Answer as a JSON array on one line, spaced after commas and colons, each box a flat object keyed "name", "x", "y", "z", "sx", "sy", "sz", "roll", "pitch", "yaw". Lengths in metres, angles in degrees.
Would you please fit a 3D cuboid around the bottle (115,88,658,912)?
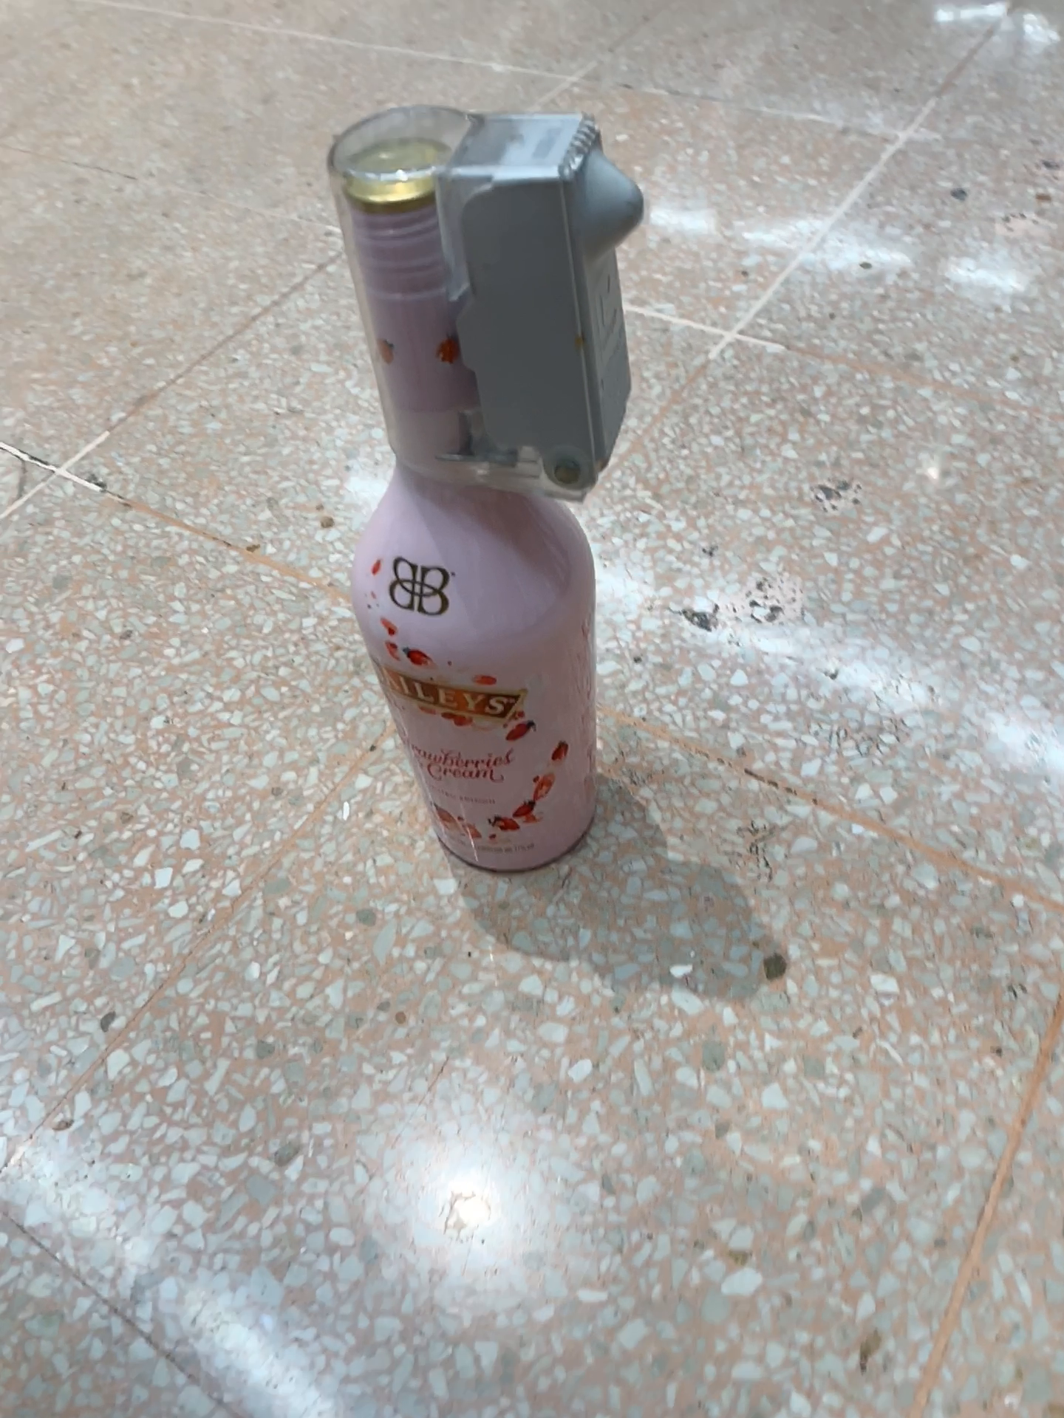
[{"name": "bottle", "x": -0.022, "y": -0.044, "z": 0.351, "sx": 0.104, "sy": 0.254, "sz": 0.073, "roll": 17, "pitch": 55, "yaw": 20}]
